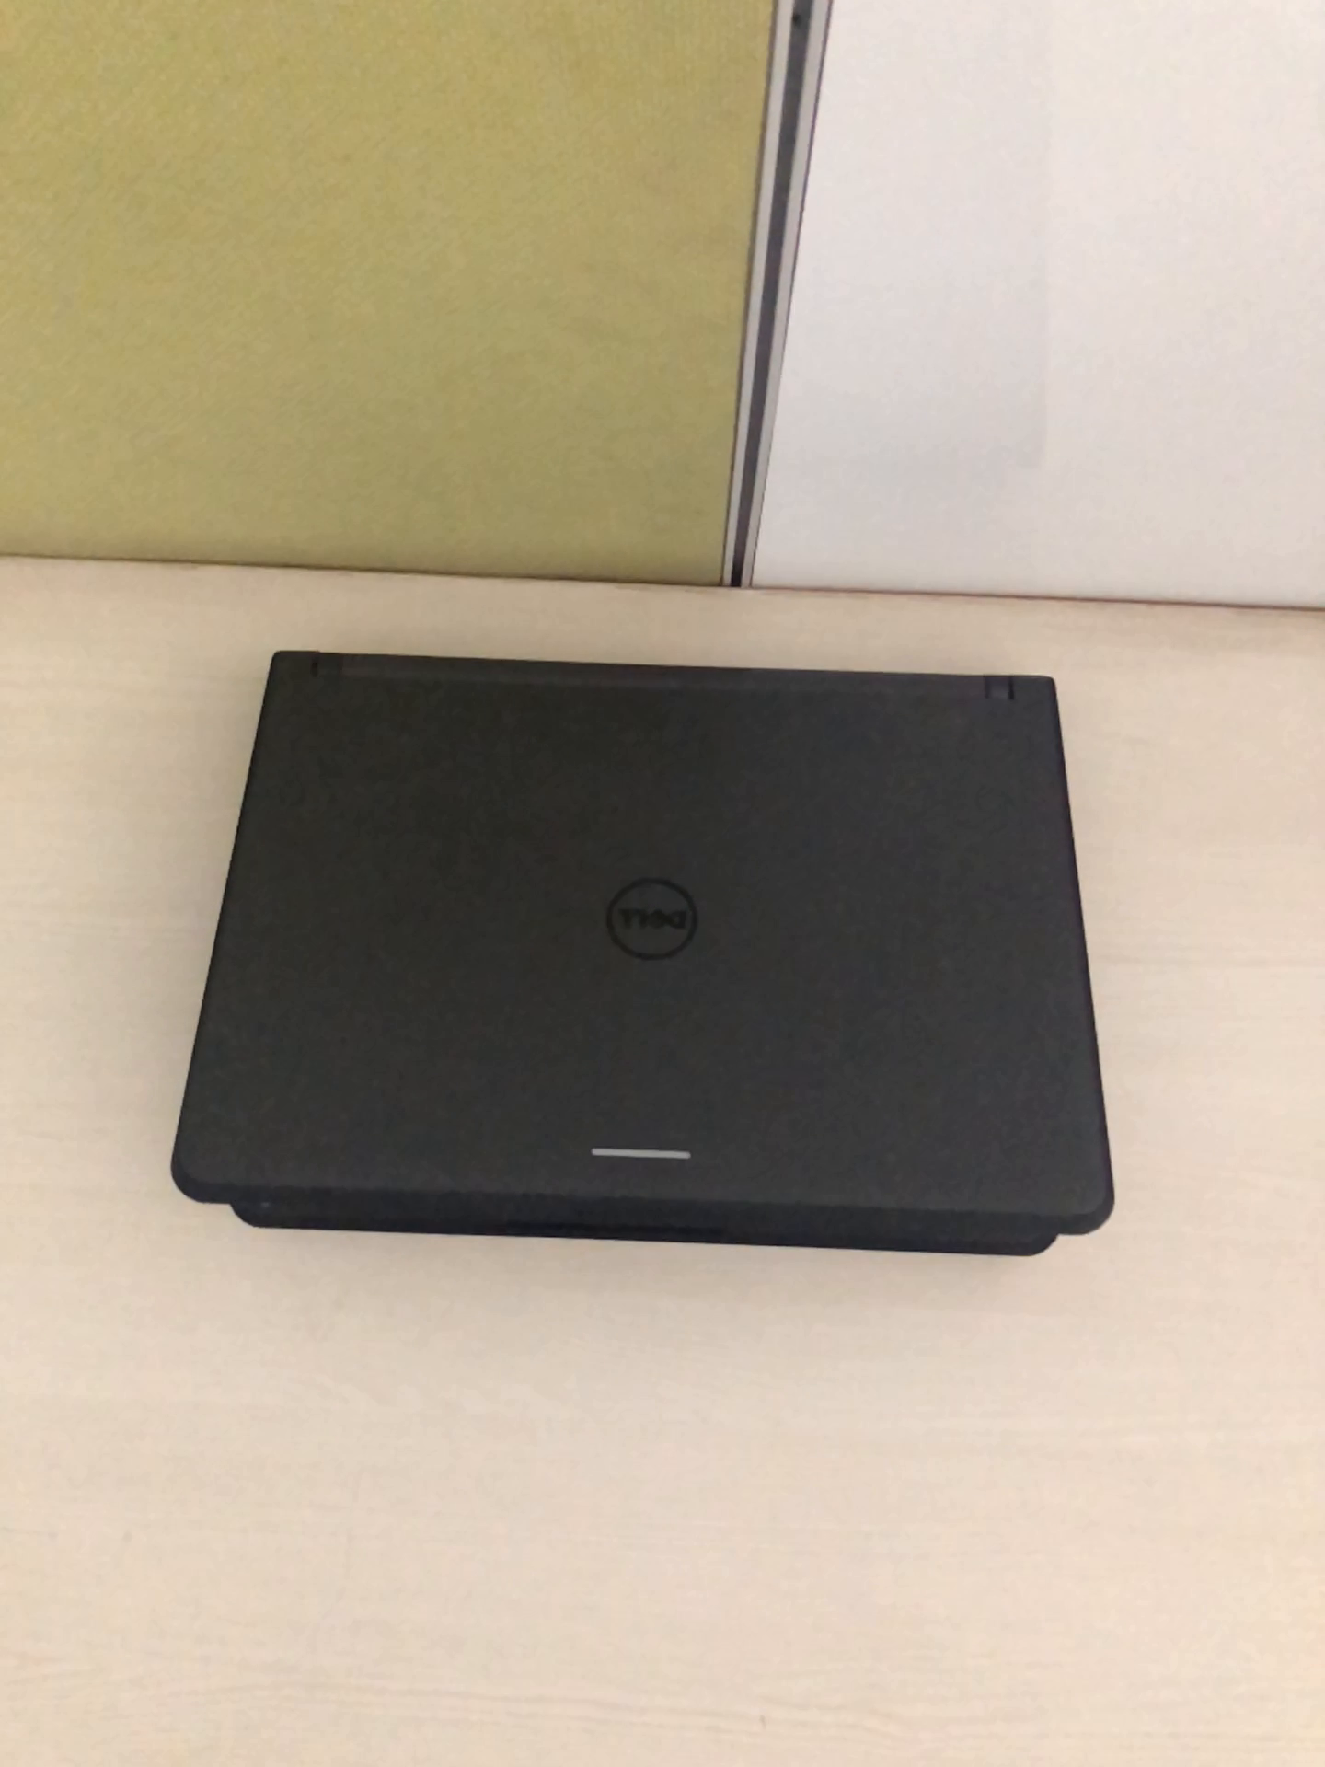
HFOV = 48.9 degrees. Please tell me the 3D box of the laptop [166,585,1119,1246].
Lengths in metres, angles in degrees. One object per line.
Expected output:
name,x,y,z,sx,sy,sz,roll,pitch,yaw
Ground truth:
laptop,-0.004,0.014,0.554,0.322,0.073,0.229,2,76,1
